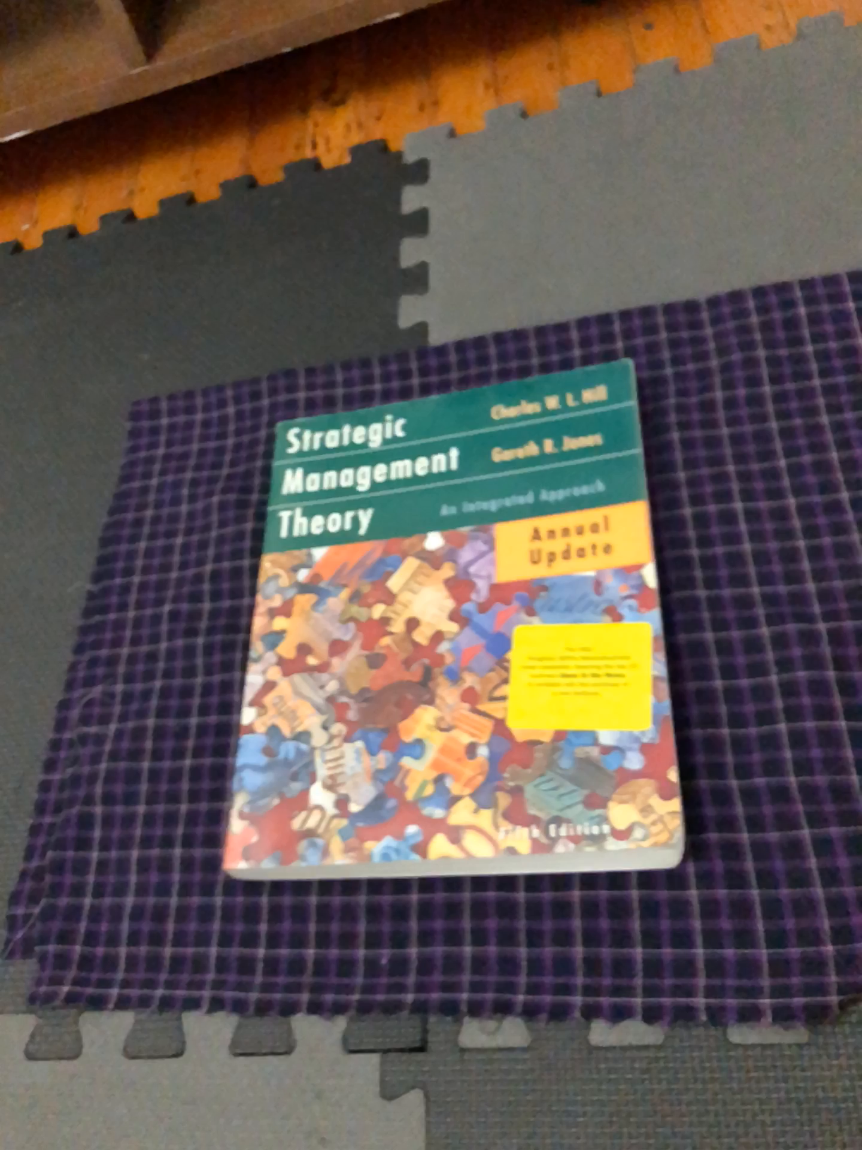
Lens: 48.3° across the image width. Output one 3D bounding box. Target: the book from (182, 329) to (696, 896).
[{"bbox_3d":[0.003,0.015,0.498,0.230,0.040,0.281,-7,61,16],"label":"book"}]
